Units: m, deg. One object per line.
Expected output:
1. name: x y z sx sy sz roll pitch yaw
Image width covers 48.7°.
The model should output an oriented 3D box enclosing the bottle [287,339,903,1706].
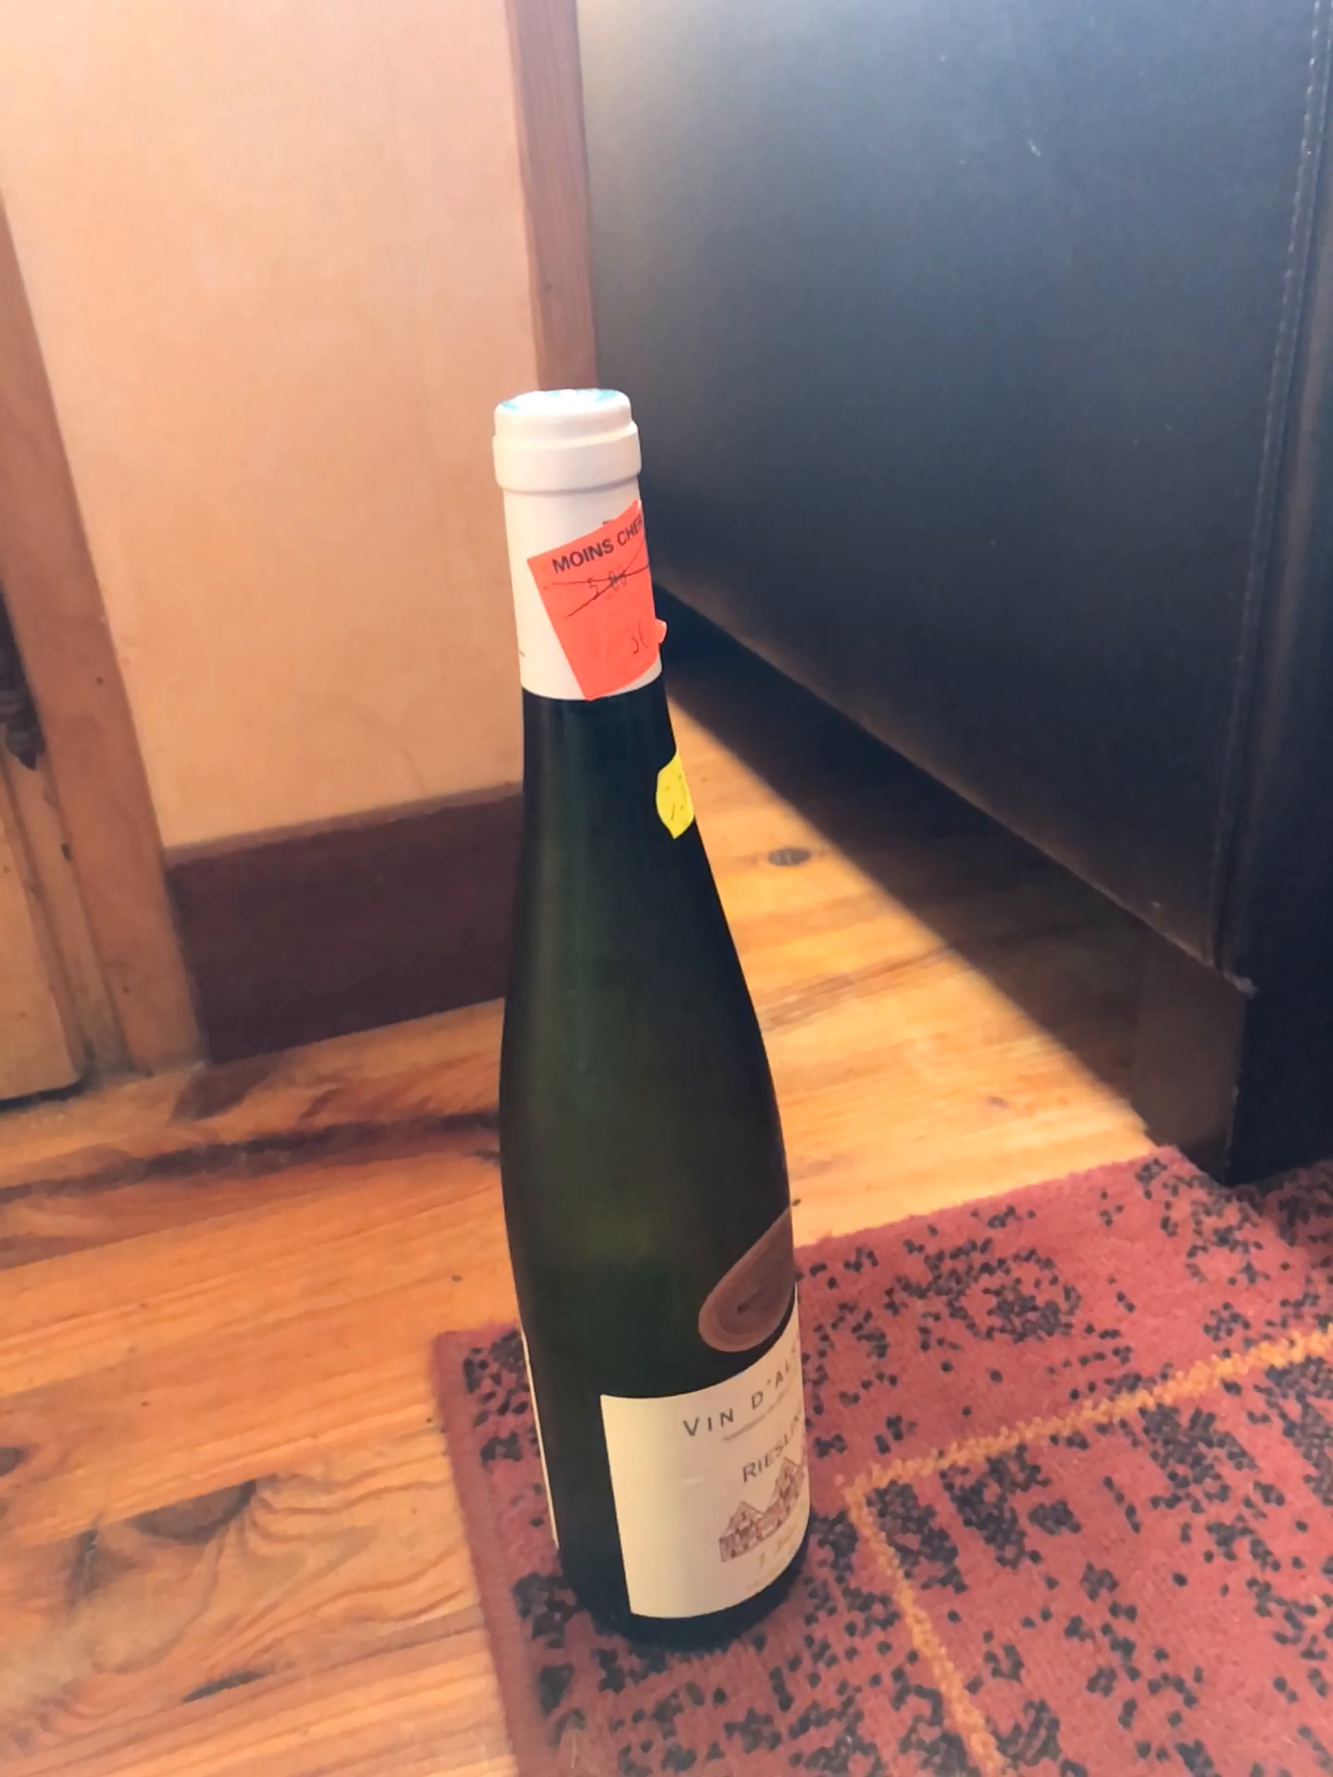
1. bottle: -0.003 0.040 0.335 0.080 0.298 0.081 -3 28 1
